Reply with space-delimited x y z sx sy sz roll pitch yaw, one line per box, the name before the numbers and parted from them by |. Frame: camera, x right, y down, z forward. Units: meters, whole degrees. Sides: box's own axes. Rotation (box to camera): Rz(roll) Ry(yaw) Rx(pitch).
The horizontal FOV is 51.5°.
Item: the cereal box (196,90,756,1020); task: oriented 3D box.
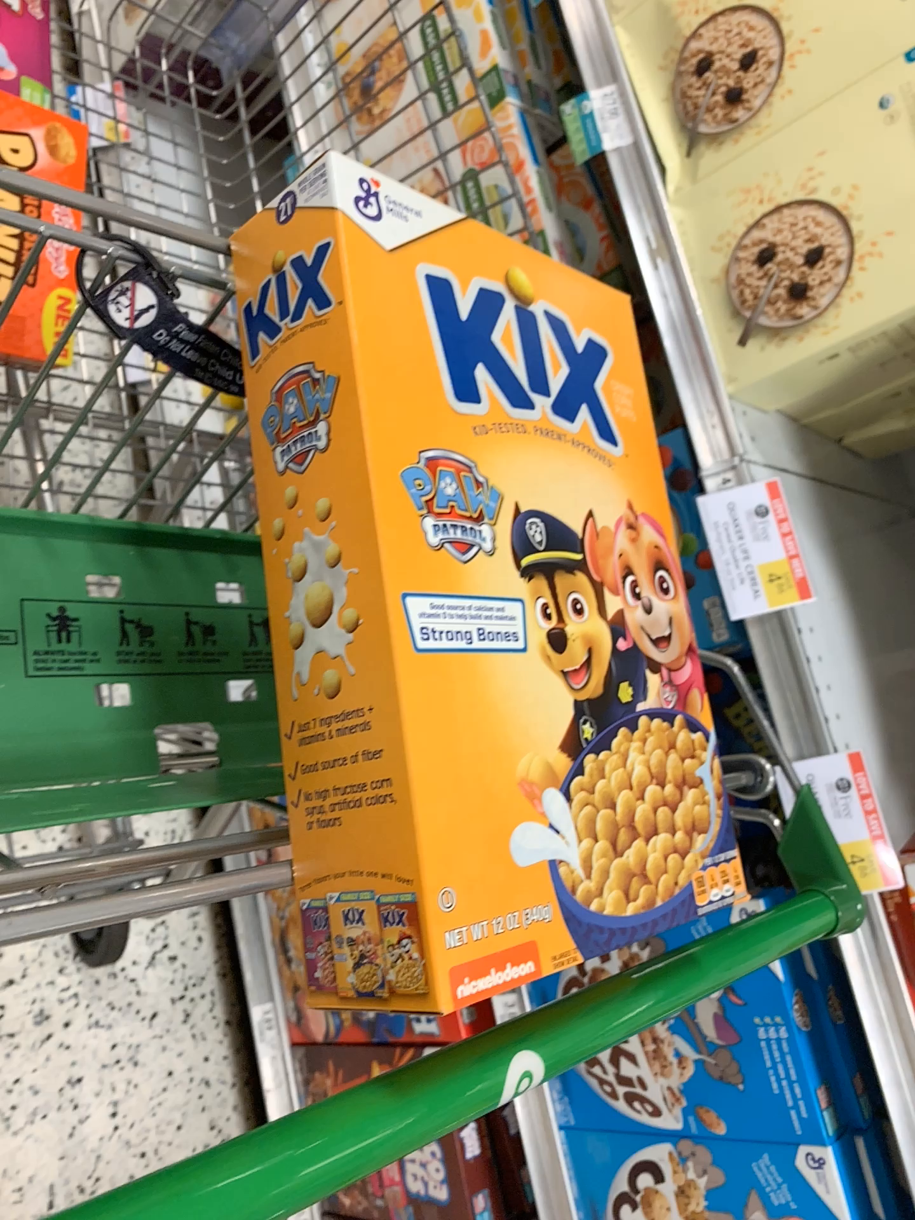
cereal box | 0.014 -0.020 0.417 0.211 0.079 0.321 4 74 -47
